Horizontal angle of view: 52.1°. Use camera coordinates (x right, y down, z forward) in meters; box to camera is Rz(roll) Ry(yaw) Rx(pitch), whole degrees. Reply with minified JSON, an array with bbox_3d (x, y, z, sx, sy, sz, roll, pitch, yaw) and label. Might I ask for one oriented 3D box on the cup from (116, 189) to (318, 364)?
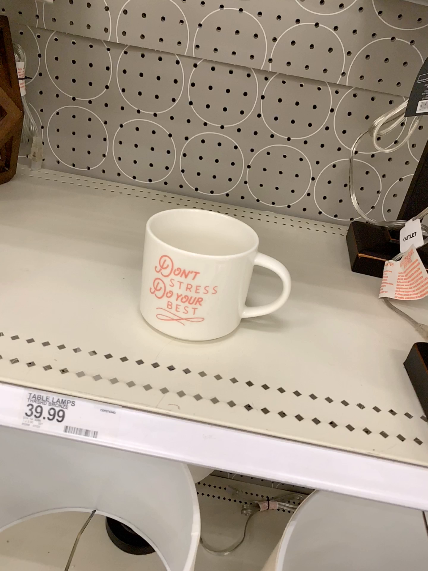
[{"bbox_3d":[0.003,-0.013,0.391,0.150,0.090,0.101,12,31,3],"label":"cup"}]
